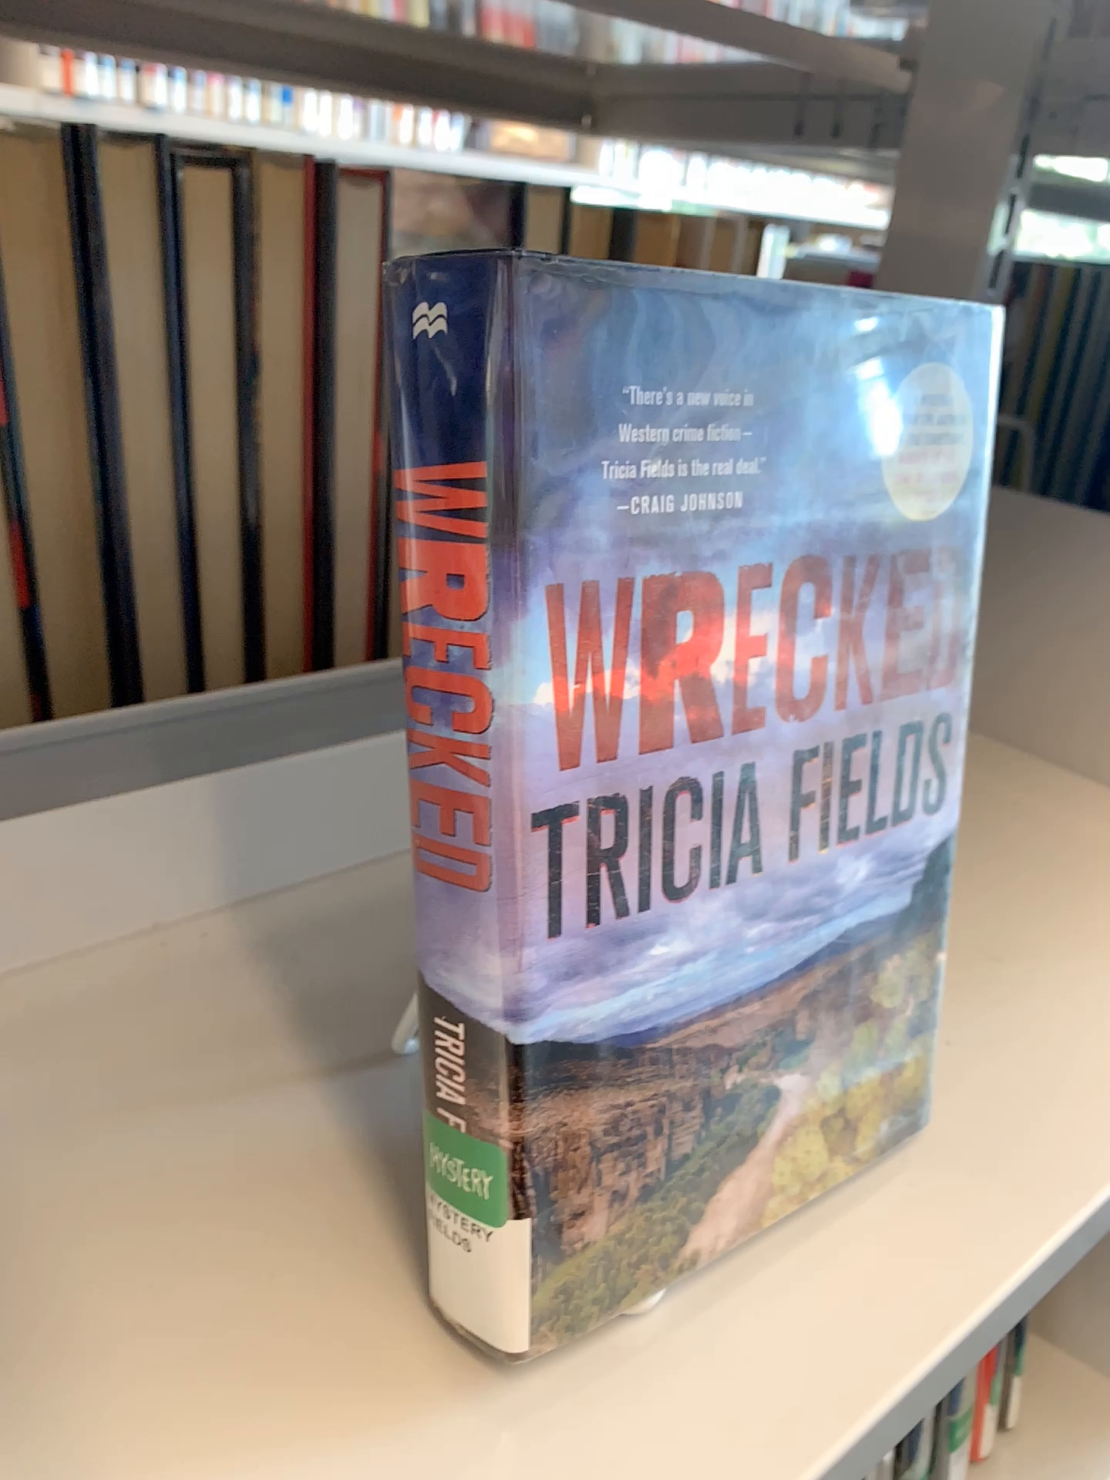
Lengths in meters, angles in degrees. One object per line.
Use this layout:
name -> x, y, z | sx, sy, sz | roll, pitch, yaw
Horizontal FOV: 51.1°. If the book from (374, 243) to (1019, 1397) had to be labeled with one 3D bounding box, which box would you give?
book -> 0.038, 0.011, 0.260 | 0.147, 0.213, 0.035 | -12, 19, -37
